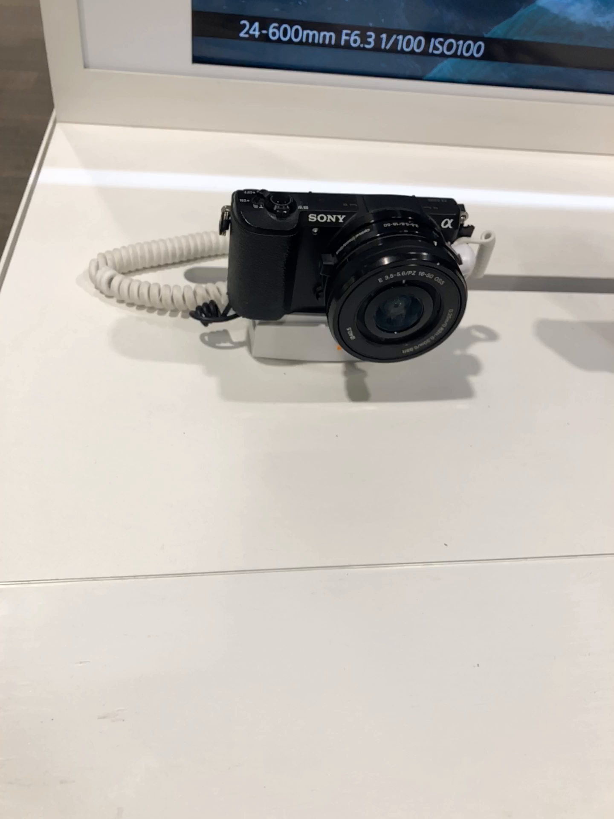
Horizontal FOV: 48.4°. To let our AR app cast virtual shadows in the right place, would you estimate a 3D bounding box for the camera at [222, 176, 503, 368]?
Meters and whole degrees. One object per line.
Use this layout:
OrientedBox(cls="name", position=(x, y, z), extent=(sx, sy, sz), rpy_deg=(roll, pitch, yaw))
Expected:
OrientedBox(cls="camera", position=(0.018, -0.062, 0.316), extent=(0.113, 0.060, 0.062), rpy_deg=(-1, 45, -8))
